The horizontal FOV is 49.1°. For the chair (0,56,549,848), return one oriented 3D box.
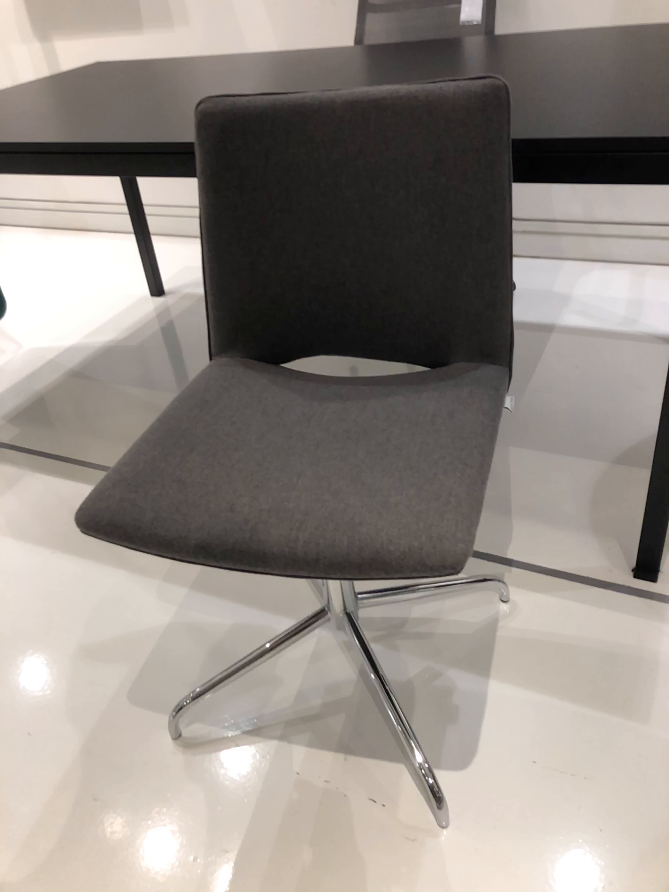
[{"bbox_3d":[-0.011,0.002,1.000,0.520,0.834,0.554,4,36,16],"label":"chair"}]
